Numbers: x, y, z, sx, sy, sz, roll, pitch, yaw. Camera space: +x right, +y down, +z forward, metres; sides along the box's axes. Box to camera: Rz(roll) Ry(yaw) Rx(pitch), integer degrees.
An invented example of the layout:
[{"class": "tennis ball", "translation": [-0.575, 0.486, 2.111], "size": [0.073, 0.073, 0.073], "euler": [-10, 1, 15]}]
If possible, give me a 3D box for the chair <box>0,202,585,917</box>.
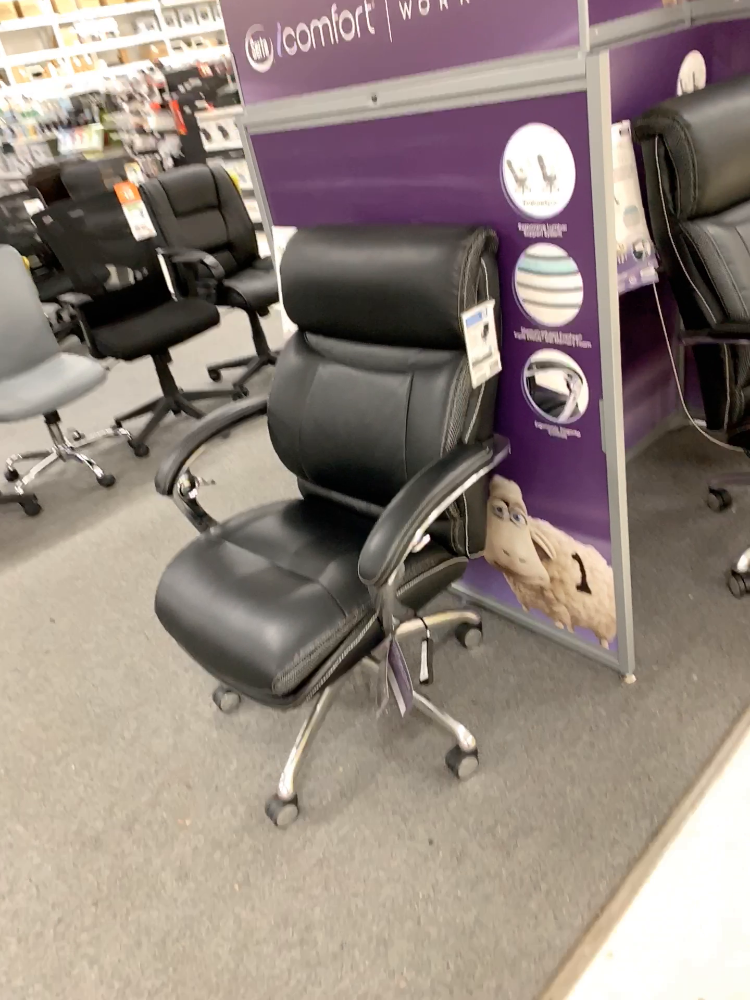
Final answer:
[{"class": "chair", "translation": [-0.156, 0.016, 1.482], "size": [0.721, 0.955, 0.773], "euler": [-33, 36, -31]}]
